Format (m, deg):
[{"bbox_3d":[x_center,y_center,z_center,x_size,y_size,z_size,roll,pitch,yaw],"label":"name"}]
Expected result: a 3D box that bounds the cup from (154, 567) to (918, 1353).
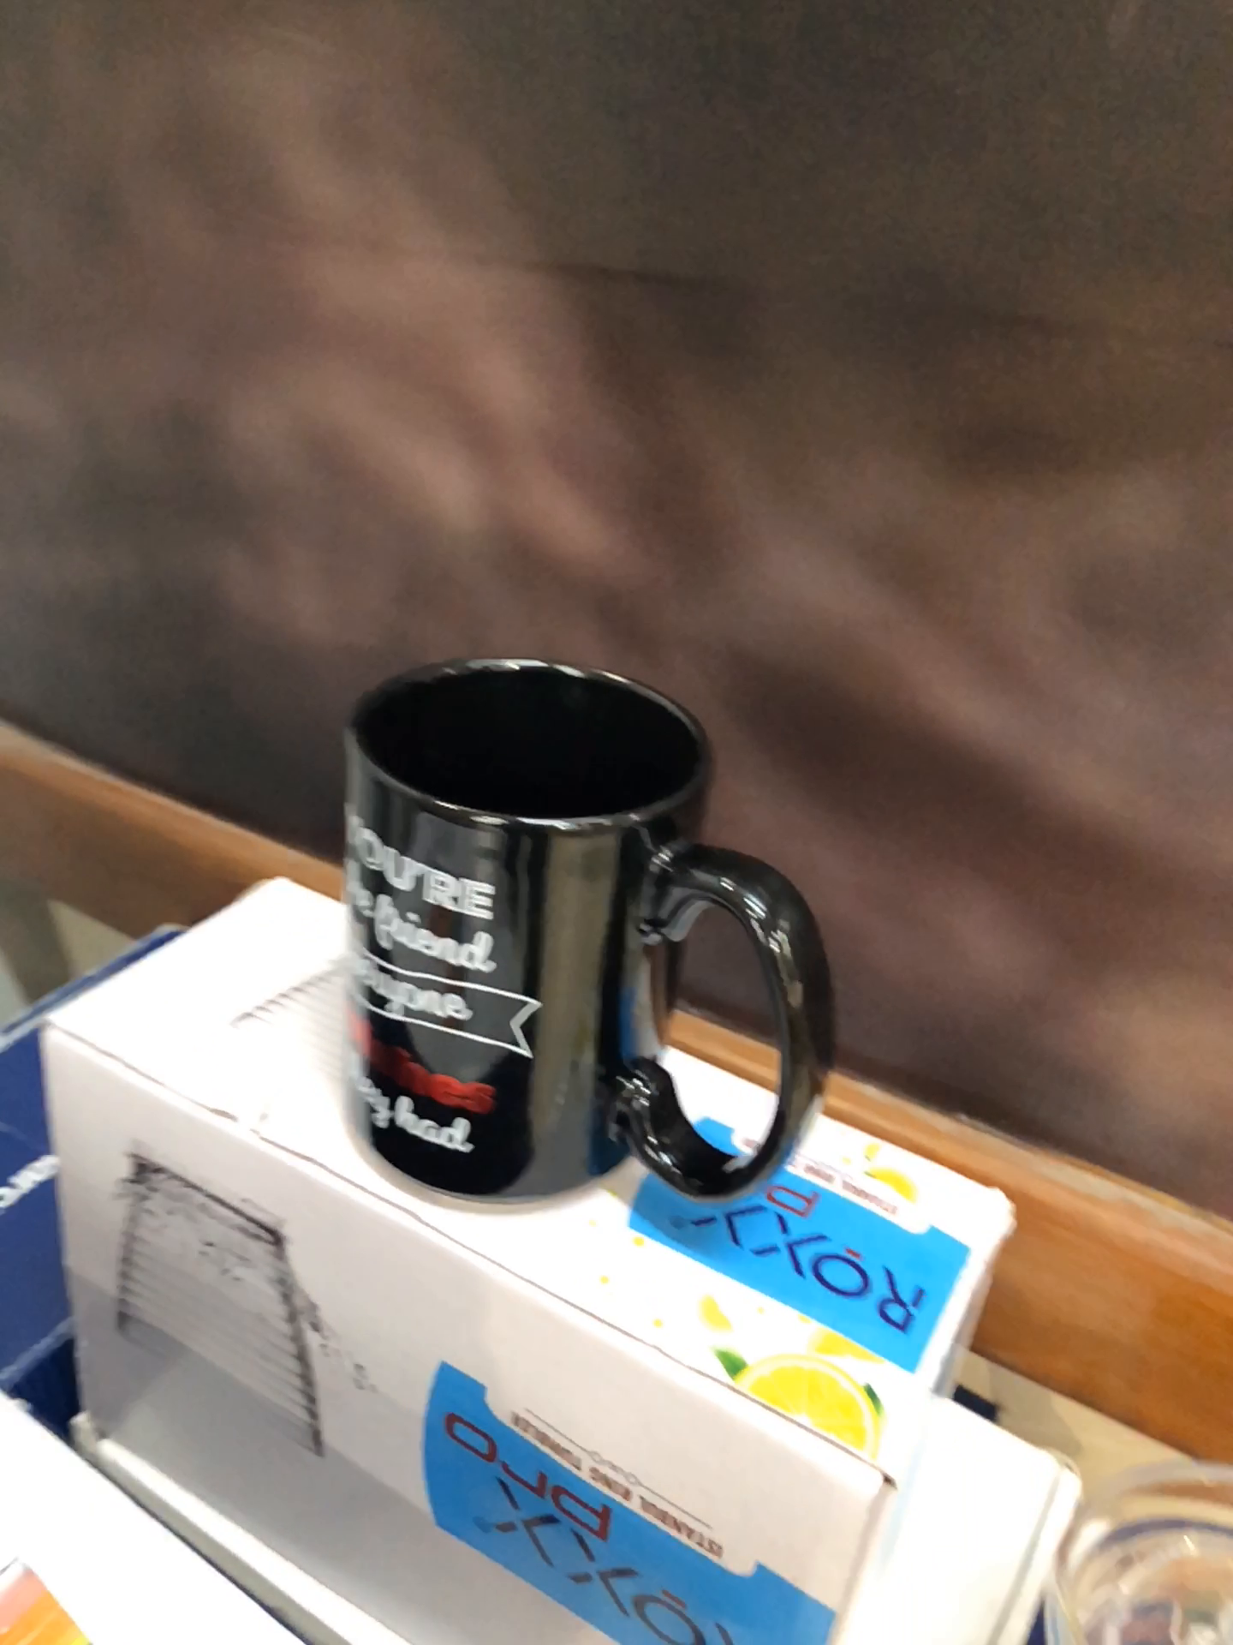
[{"bbox_3d":[-0.020,0.019,0.307,0.130,0.109,0.091,20,30,28],"label":"cup"}]
